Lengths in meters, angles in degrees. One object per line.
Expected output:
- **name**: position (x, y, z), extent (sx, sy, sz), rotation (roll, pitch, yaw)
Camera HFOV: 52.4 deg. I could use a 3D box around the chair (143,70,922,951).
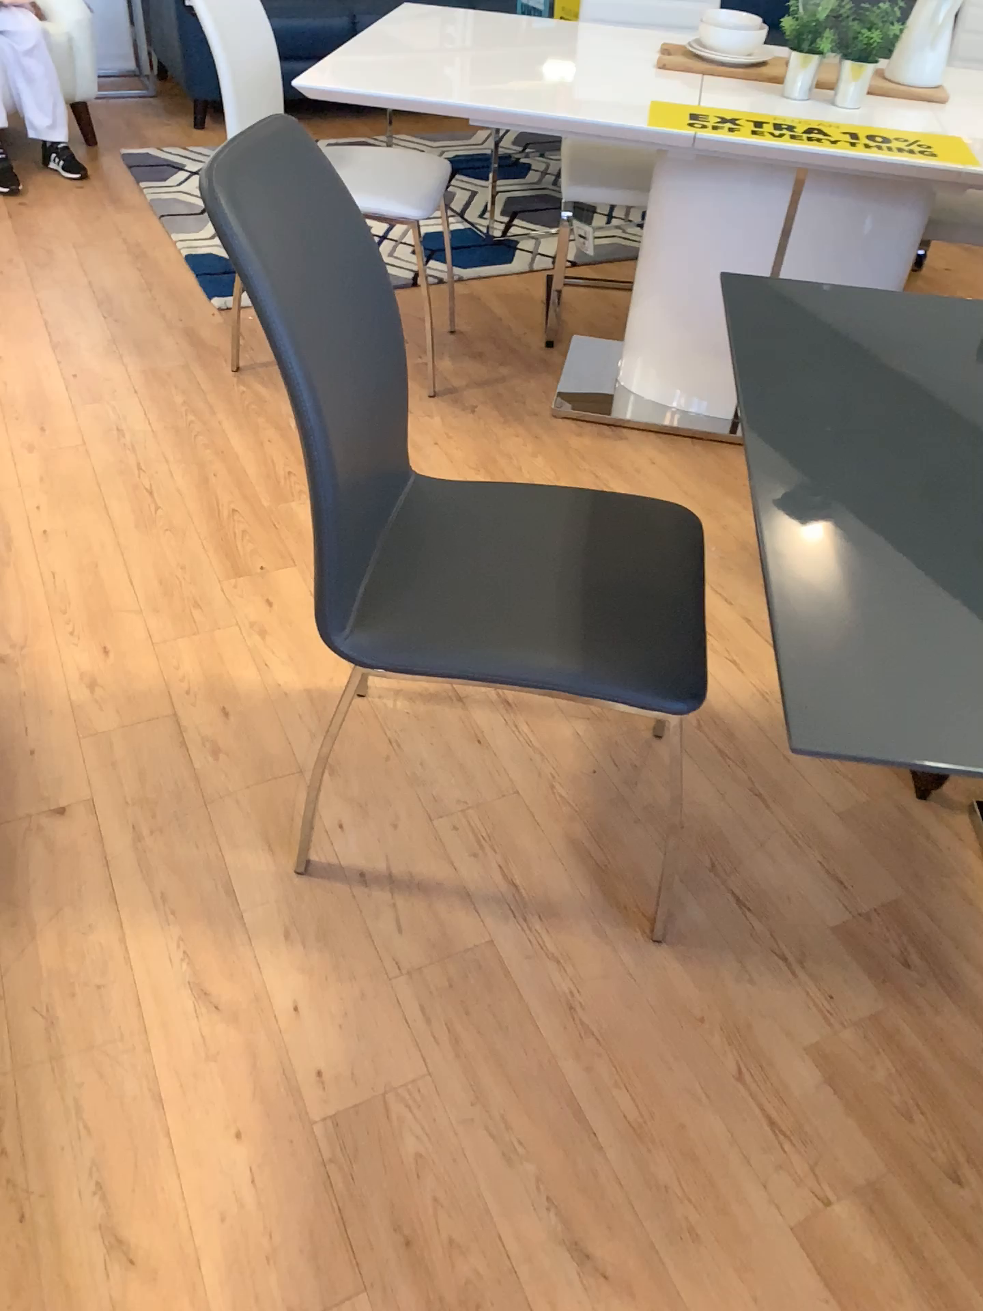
- **chair**: position (0.030, -0.150, 1.291), extent (0.630, 0.911, 0.515), rotation (9, 41, 4)
